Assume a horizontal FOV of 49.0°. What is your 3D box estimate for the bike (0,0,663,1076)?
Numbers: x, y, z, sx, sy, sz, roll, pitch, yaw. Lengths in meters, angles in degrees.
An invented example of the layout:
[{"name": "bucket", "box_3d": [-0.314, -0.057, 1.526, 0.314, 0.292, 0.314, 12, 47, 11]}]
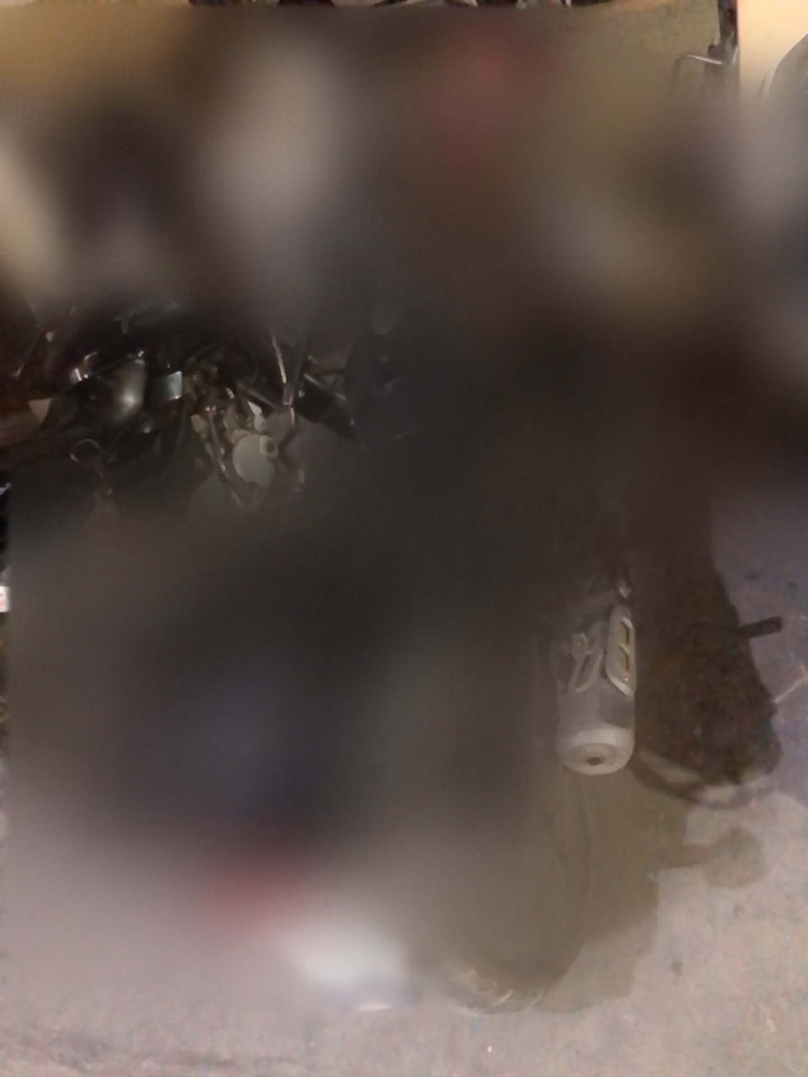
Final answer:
[{"name": "bike", "box_3d": [-0.088, -0.168, 1.725, 0.863, 1.251, 1.676, -7, 40, 16]}]
